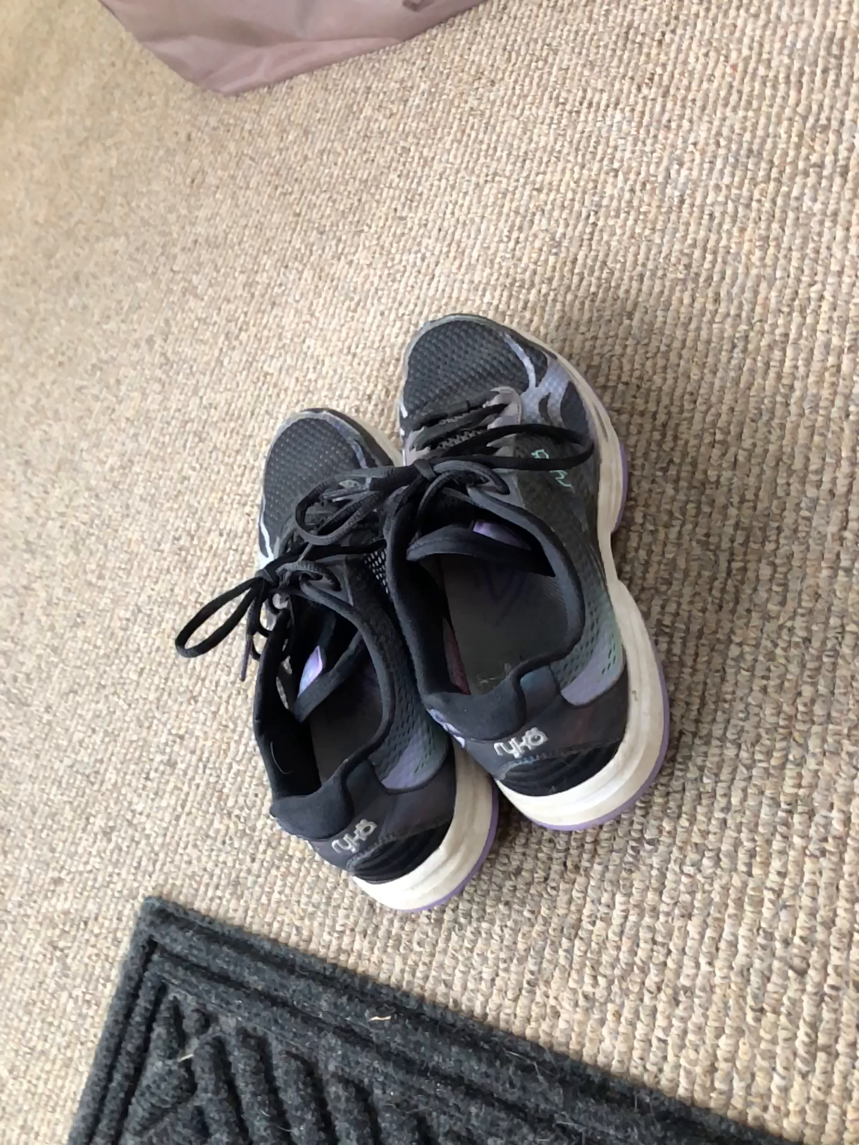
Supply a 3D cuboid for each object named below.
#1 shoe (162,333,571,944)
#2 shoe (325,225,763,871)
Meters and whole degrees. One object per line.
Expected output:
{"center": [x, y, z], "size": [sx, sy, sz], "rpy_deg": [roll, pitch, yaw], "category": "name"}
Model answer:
{"center": [-0.041, 0.027, 0.463], "size": [0.110, 0.103, 0.258], "rpy_deg": [-30, 54, 18], "category": "shoe"}
{"center": [0.041, -0.015, 0.431], "size": [0.102, 0.103, 0.257], "rpy_deg": [-26, 55, 20], "category": "shoe"}
